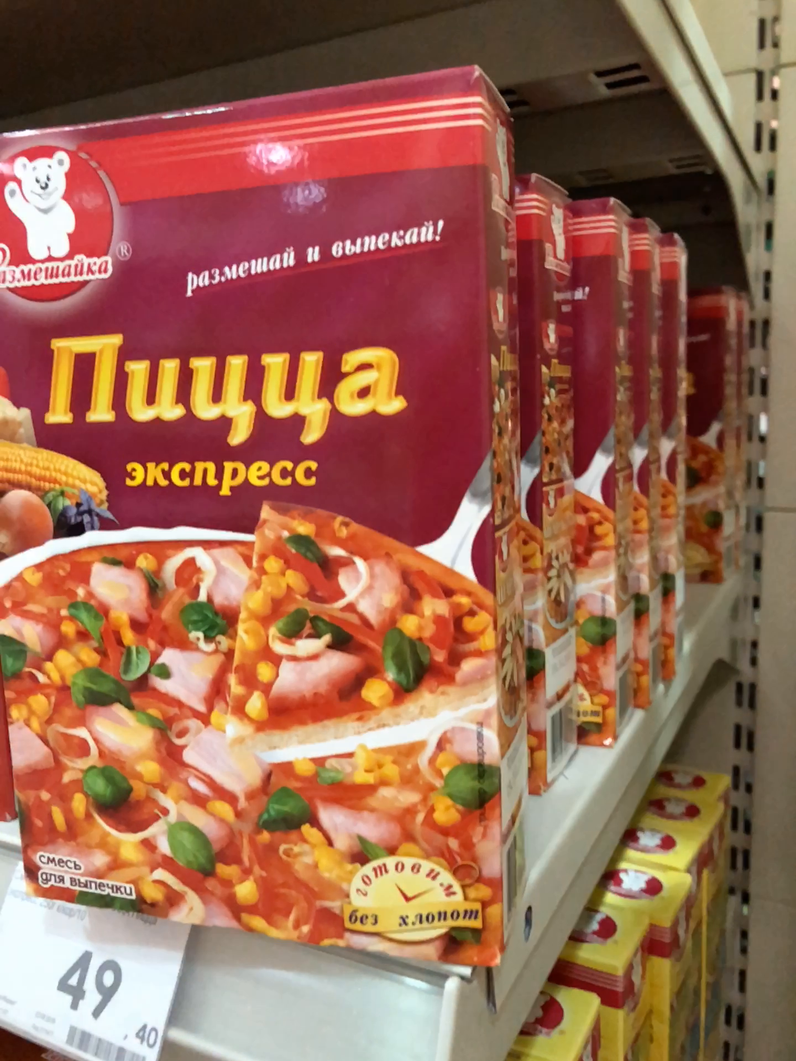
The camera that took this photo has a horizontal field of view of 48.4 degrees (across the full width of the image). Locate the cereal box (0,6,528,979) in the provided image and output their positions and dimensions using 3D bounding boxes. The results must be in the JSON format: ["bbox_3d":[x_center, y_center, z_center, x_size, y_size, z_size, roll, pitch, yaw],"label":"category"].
[{"bbox_3d":[-0.043,-0.005,0.212,0.140,0.190,0.040,1,8,18],"label":"cereal box"}]
